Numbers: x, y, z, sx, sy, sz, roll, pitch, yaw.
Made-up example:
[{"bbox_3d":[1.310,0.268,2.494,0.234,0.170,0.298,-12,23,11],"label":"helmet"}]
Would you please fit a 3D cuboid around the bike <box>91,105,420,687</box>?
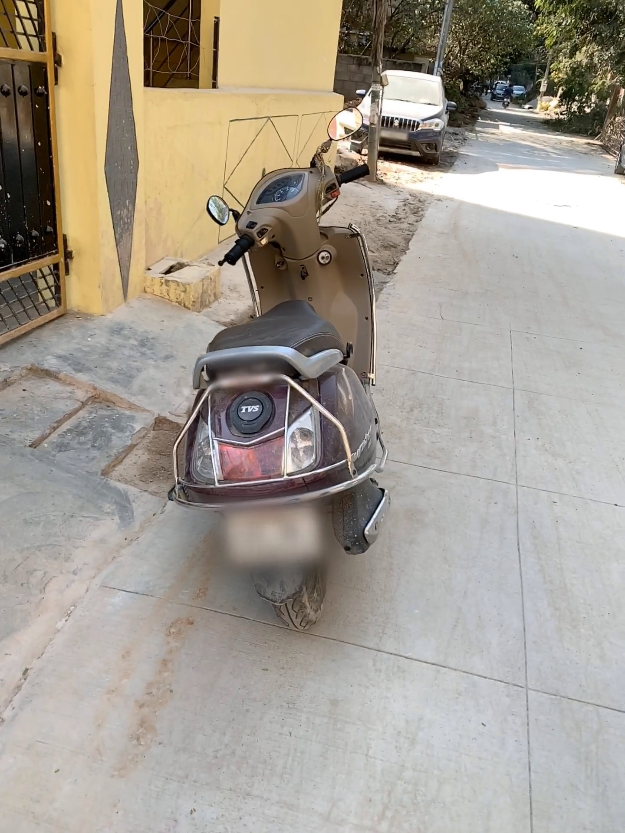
[{"bbox_3d":[-0.134,-0.239,2.082,0.613,1.158,1.532,6,31,-1],"label":"bike"}]
